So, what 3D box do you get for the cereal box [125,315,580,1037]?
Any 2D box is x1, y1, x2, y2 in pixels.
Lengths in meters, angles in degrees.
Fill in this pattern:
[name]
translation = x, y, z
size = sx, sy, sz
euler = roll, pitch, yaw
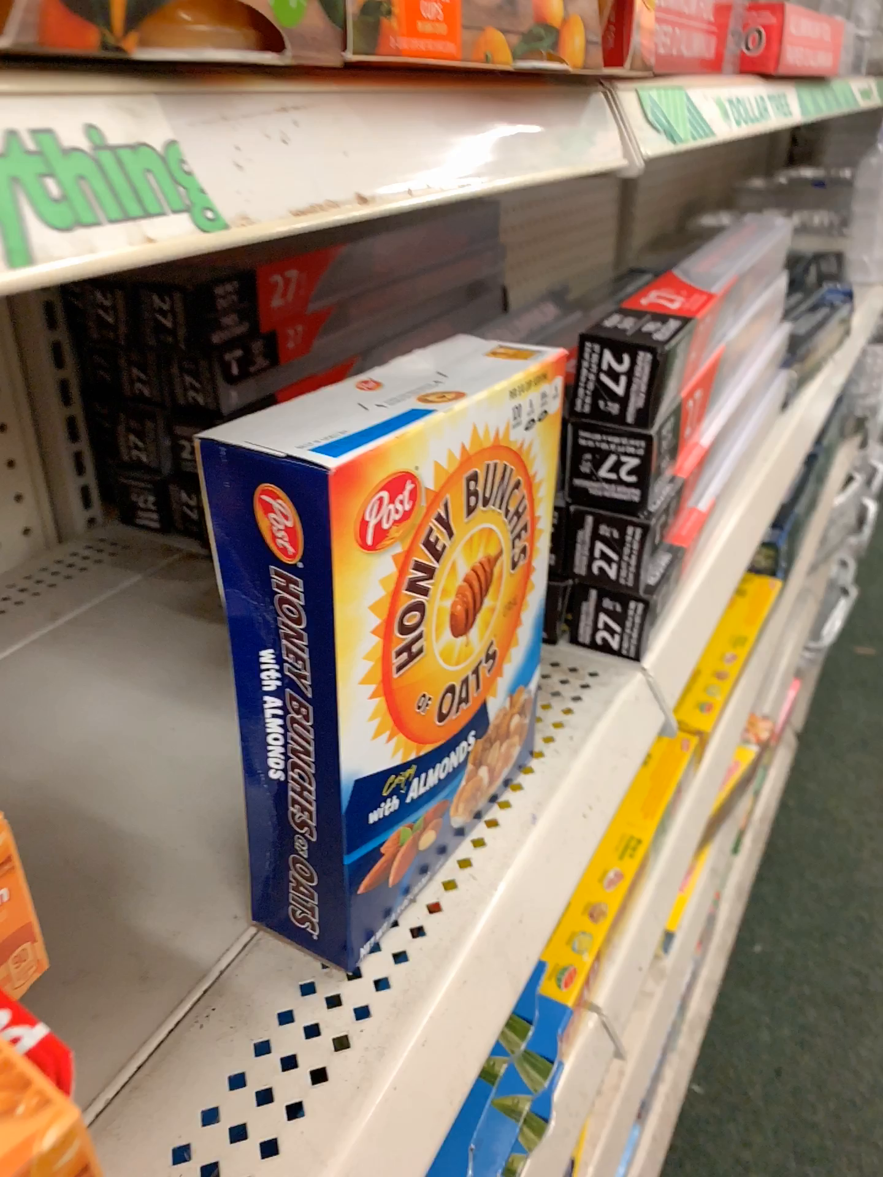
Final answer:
[cereal box]
translation = -0.015, 0.021, 0.311
size = 0.050, 0.189, 0.151
euler = 17, 34, 28
